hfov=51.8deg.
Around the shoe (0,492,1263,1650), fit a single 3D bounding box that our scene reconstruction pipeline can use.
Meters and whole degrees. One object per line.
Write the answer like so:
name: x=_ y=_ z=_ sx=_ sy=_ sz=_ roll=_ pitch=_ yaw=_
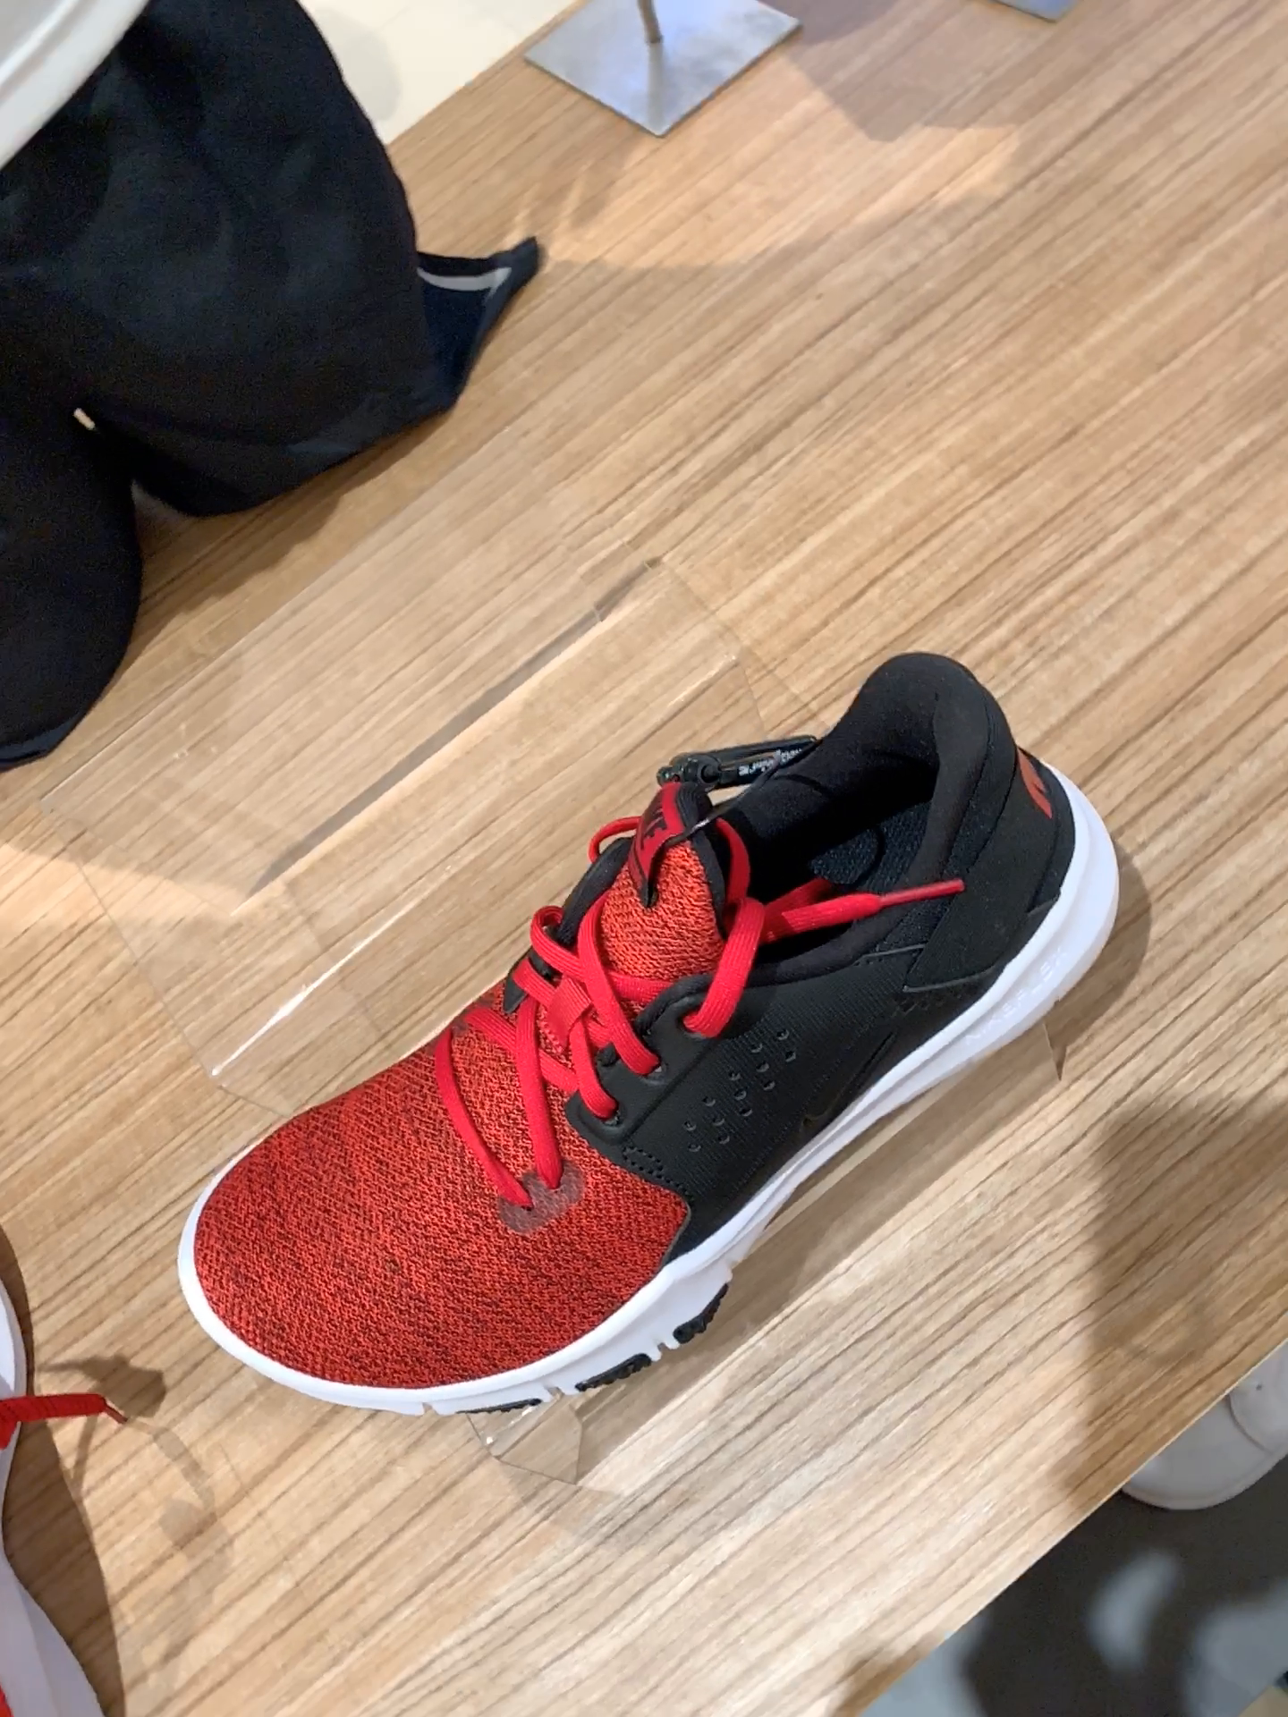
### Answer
shoe: x=-0.006 y=0.050 z=0.331 sx=0.290 sy=0.080 sz=0.111 roll=-37 pitch=59 yaw=-2
